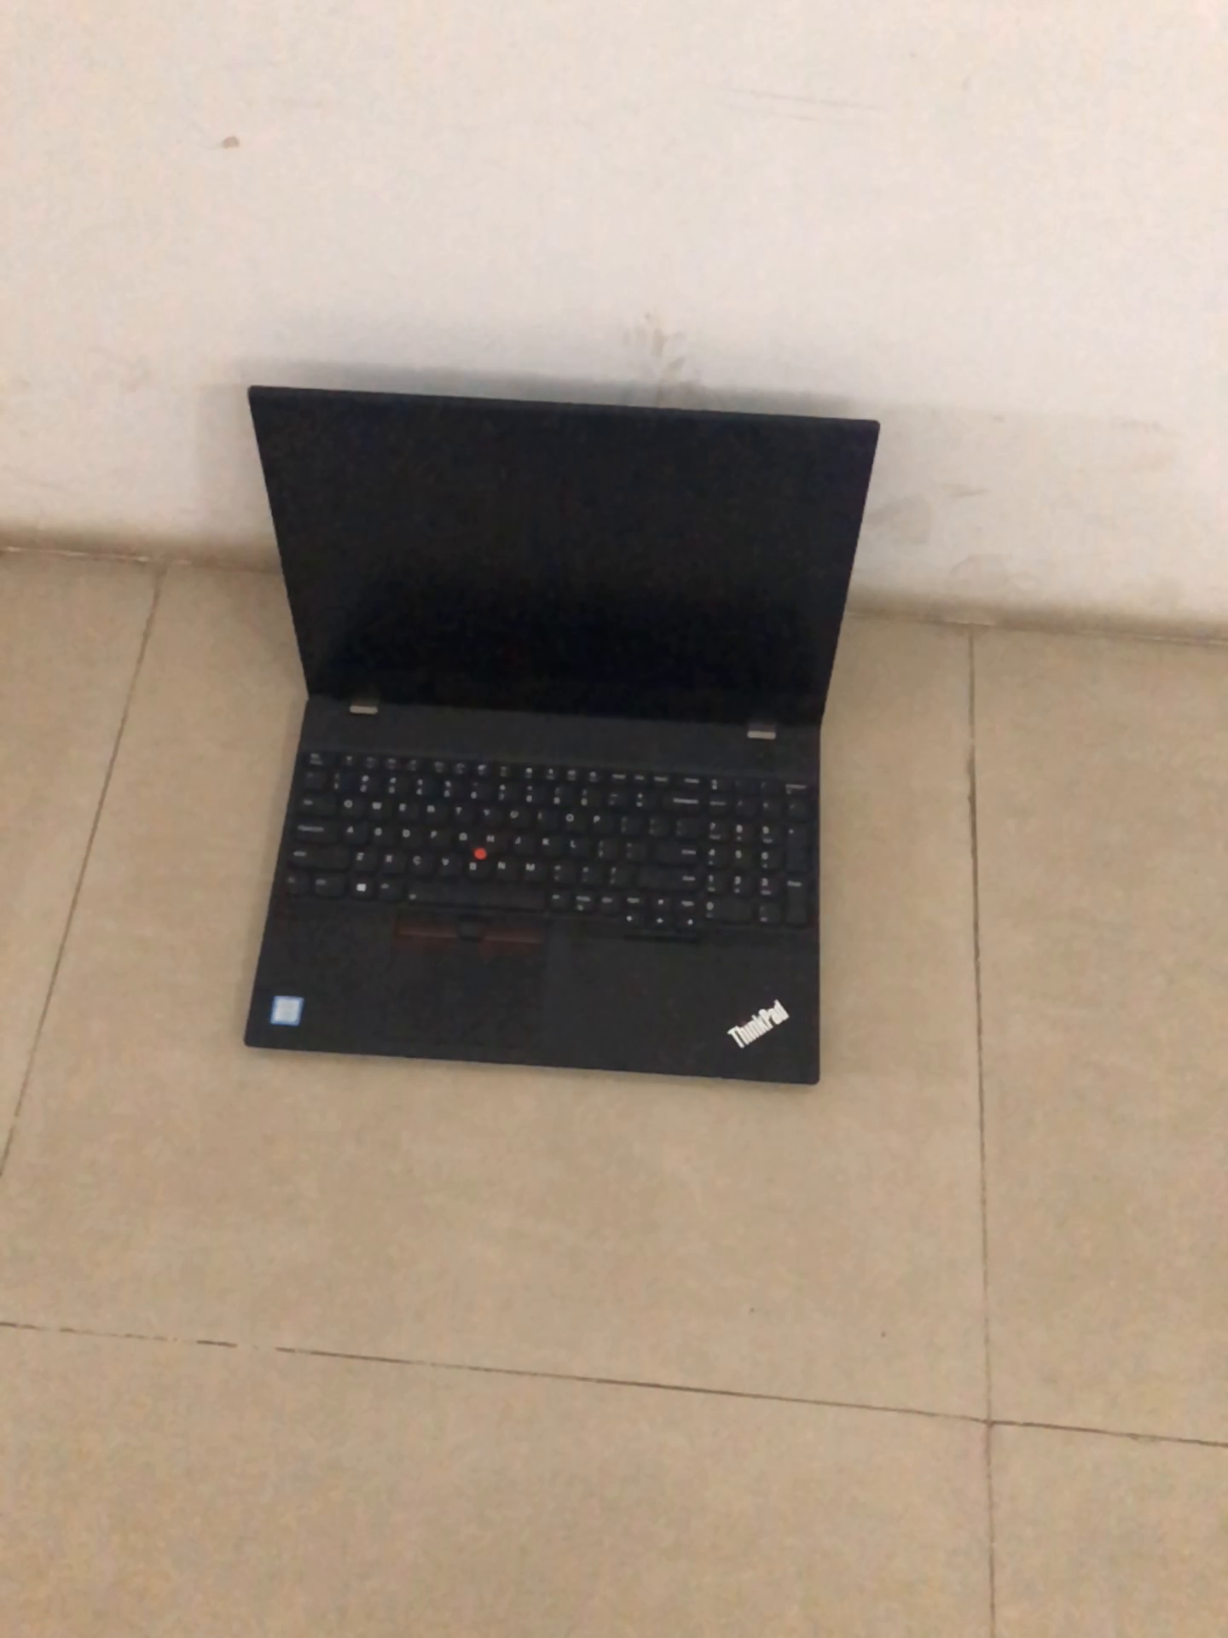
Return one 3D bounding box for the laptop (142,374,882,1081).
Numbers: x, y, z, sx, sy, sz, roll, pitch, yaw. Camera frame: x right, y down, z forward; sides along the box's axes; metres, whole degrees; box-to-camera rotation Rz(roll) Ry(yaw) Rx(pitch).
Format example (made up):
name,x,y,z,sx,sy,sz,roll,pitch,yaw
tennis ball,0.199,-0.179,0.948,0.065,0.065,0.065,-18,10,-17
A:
name,x,y,z,sx,sy,sz,roll,pitch,yaw
laptop,-0.040,-0.045,0.798,0.351,0.215,0.328,4,67,1
